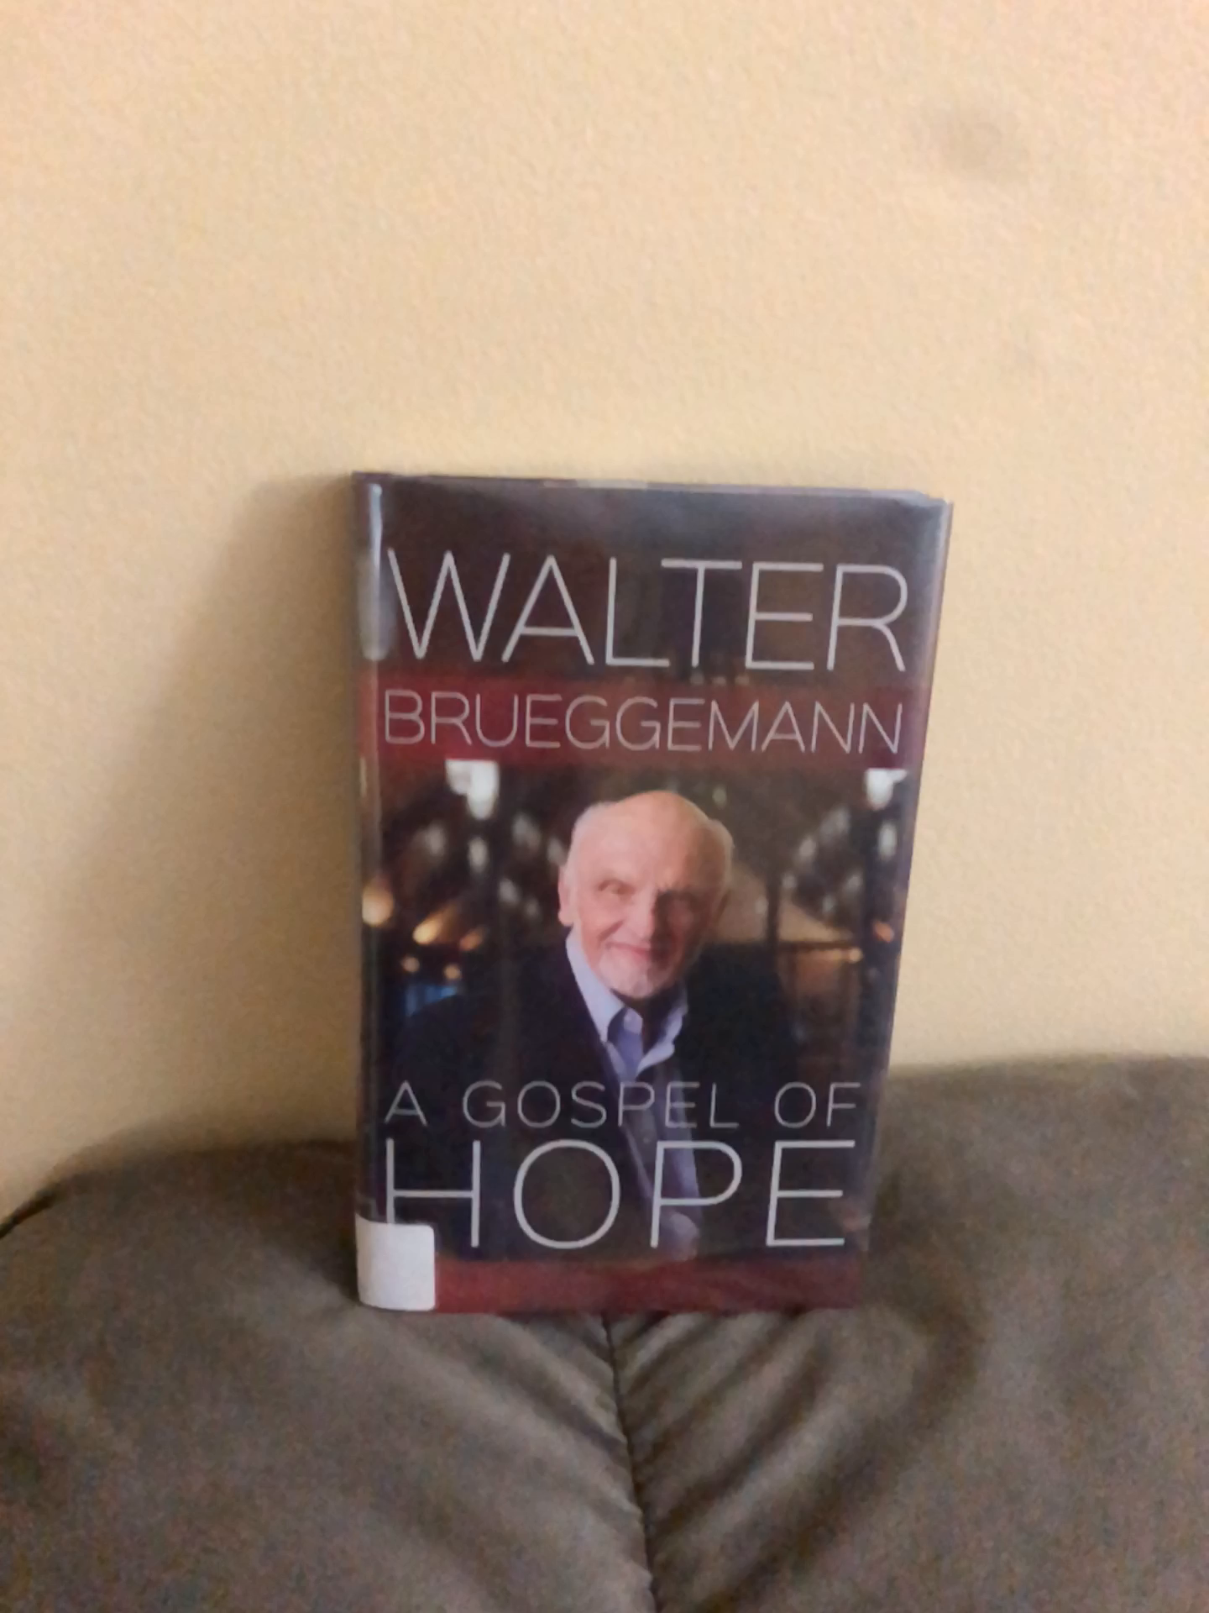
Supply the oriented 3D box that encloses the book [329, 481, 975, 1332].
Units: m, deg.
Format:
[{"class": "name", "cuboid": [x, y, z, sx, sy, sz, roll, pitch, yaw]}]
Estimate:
[{"class": "book", "cuboid": [0.008, 0.029, 0.331, 0.140, 0.210, 0.027, 1, 15, -1]}]
